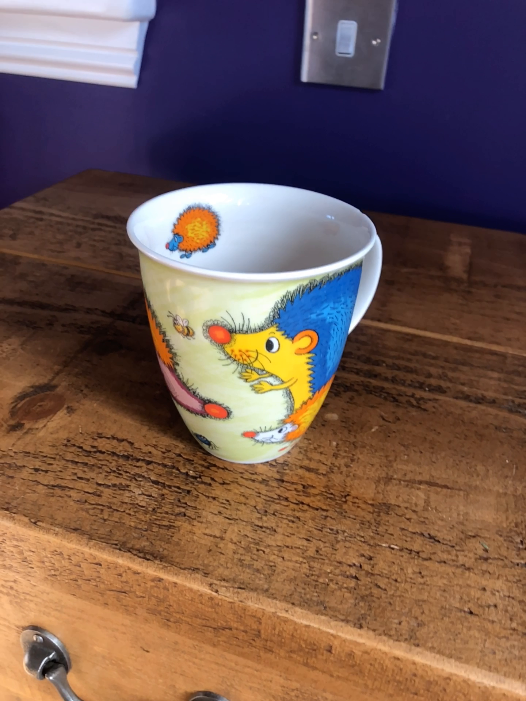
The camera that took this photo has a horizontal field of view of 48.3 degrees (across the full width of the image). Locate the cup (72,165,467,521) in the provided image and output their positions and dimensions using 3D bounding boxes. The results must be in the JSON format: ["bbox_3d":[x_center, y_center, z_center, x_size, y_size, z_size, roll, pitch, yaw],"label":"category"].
[{"bbox_3d":[0.003,-0.018,0.269,0.128,0.089,0.107,-25,42,-36],"label":"cup"}]
